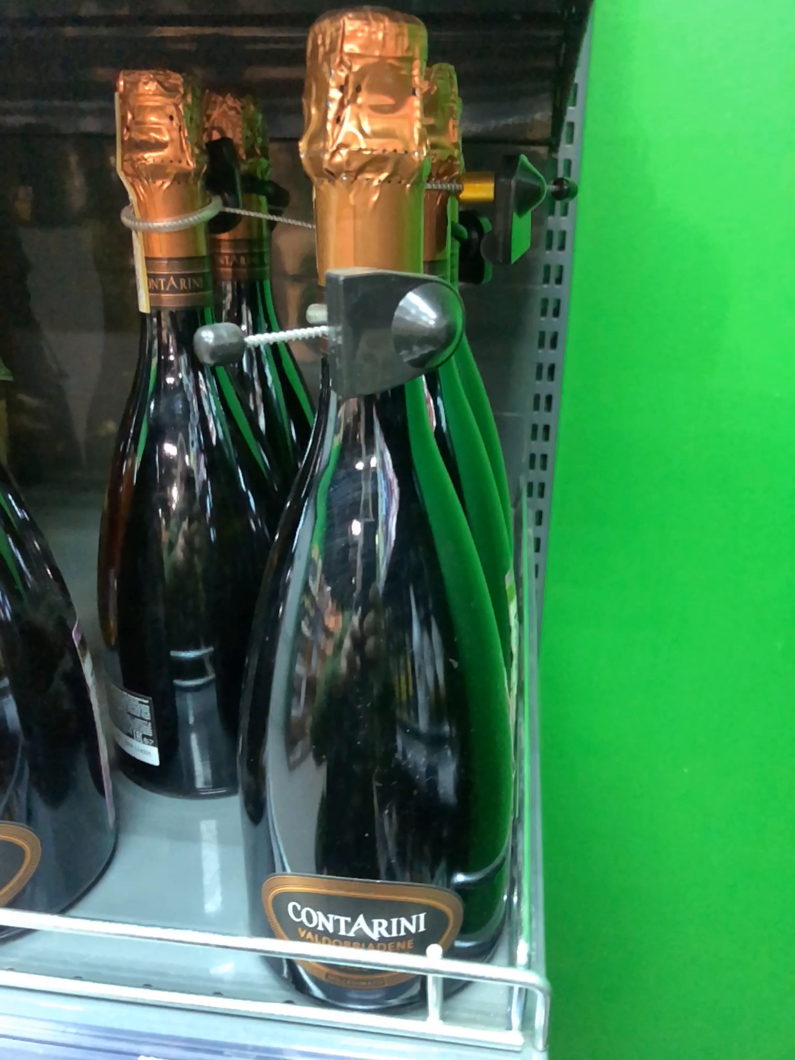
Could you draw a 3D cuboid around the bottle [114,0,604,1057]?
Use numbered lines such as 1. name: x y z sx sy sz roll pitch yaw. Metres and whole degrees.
1. bottle: -0.006 0.004 0.275 0.100 0.299 0.100 1 20 0
